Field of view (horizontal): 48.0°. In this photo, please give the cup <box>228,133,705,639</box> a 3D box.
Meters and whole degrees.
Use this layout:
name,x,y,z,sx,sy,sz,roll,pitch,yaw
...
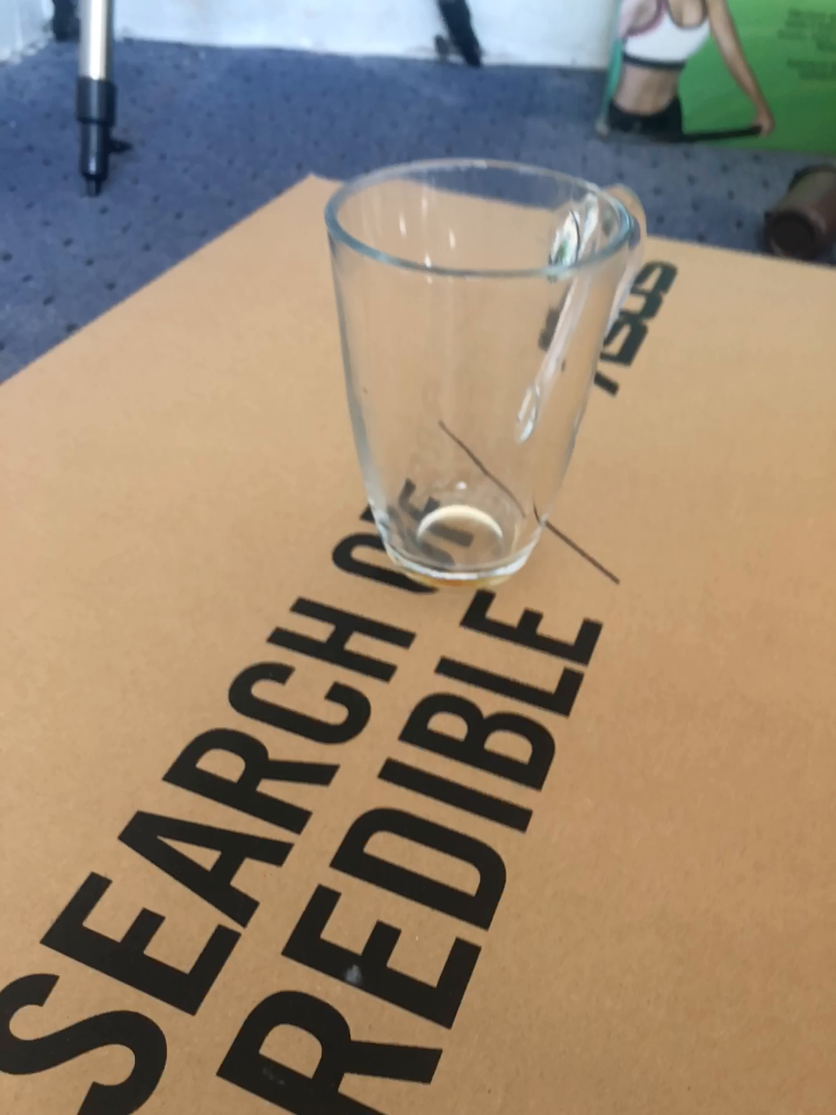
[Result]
name,x,y,z,sx,sy,sz,roll,pitch,yaw
cup,0.017,-0.056,0.272,0.080,0.090,0.110,22,43,24
